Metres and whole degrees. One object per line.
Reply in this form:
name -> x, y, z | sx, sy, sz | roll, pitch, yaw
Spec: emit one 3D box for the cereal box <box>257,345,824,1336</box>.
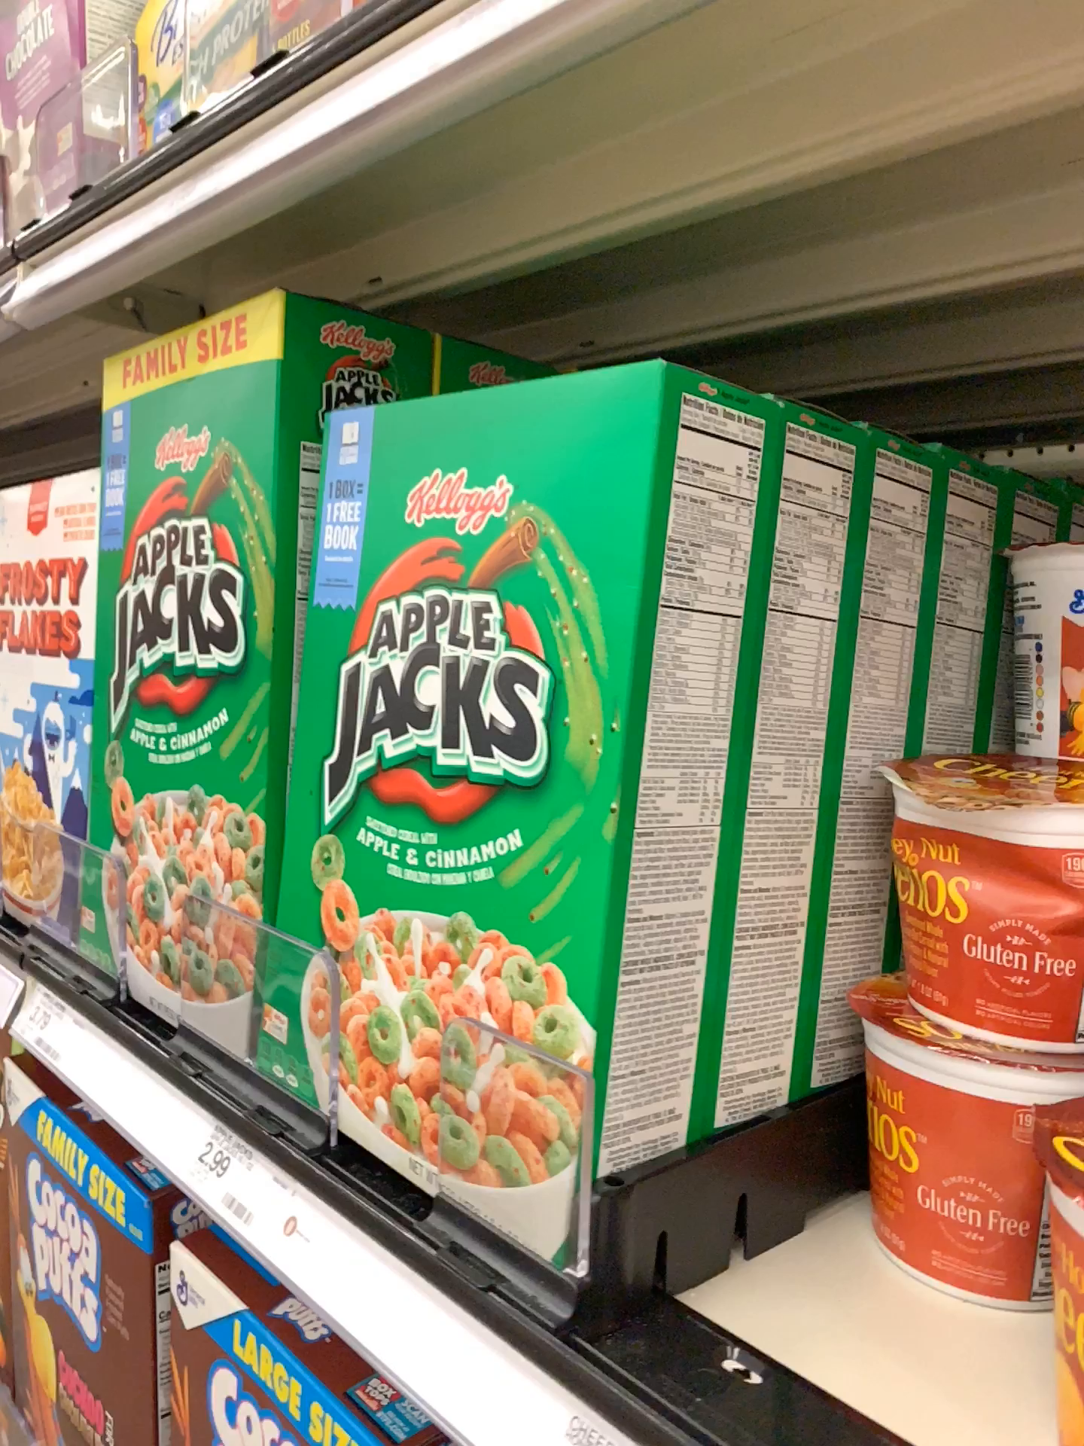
cereal box -> -0.015, 0.026, 0.417 | 0.060, 0.290, 0.200 | 4, 3, -44
